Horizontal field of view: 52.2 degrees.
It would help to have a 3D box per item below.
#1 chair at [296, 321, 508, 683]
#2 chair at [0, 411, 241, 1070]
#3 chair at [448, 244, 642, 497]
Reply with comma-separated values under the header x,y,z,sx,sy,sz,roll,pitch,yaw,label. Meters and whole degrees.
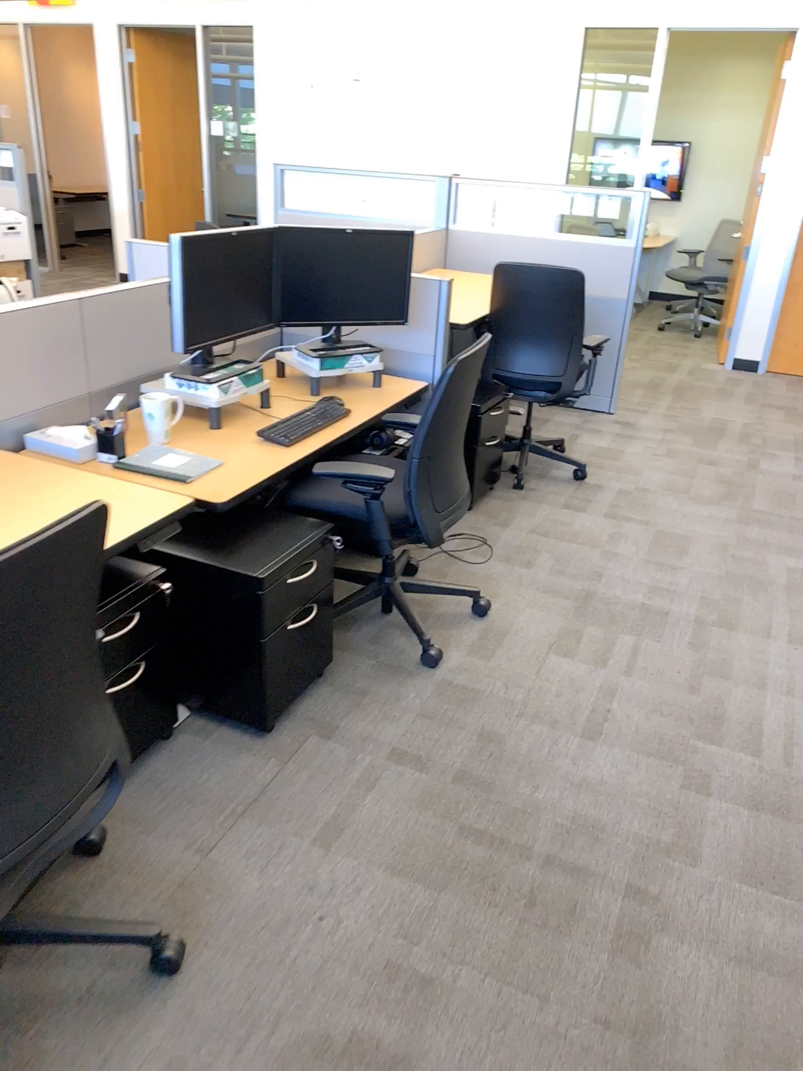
x,y,z,sx,sy,sz,roll,pitch,yaw,label
-0.008,-0.132,2.715,0.461,0.994,0.542,14,28,22,chair
-0.674,0.389,1.364,0.581,0.994,0.522,14,27,21,chair
0.701,-0.843,4.024,0.631,0.994,0.763,14,28,21,chair
